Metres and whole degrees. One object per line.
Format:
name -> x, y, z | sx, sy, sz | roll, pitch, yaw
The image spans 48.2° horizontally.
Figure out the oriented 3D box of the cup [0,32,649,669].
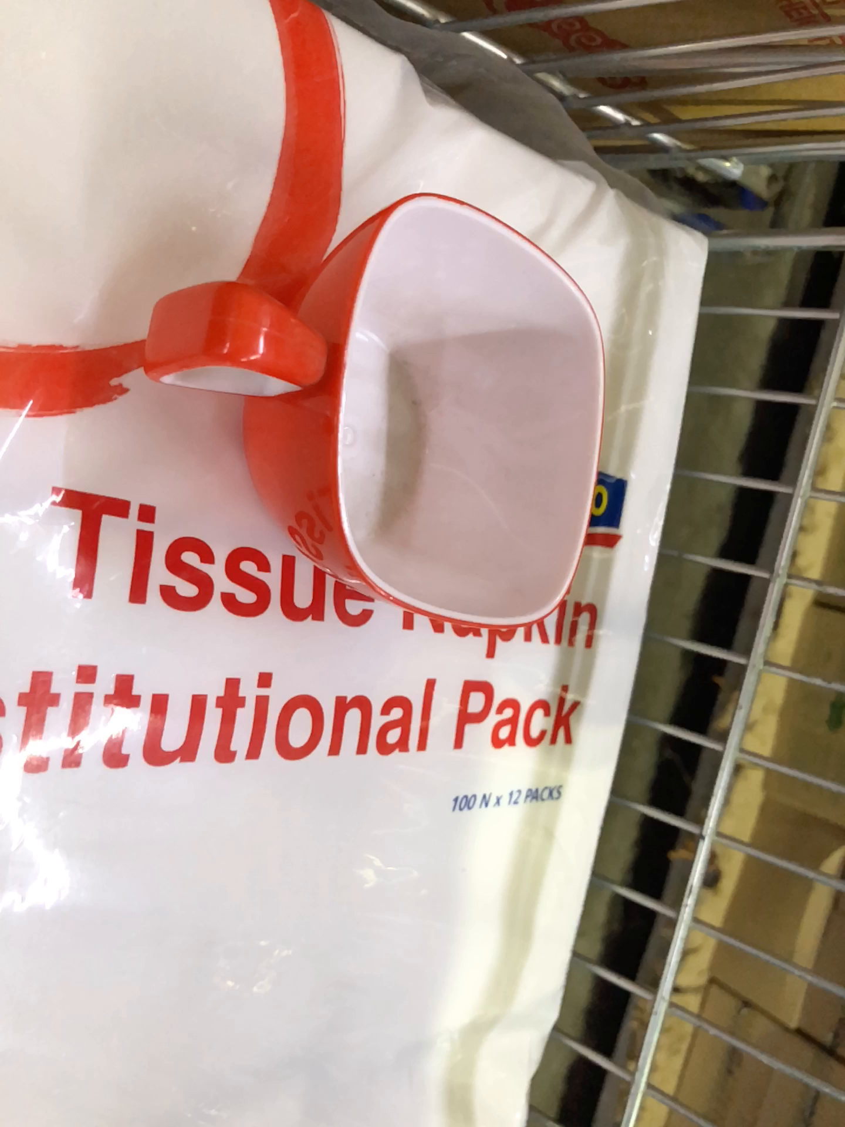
cup -> -0.016, -0.031, 0.201 | 0.120, 0.060, 0.090 | 10, 95, -52
